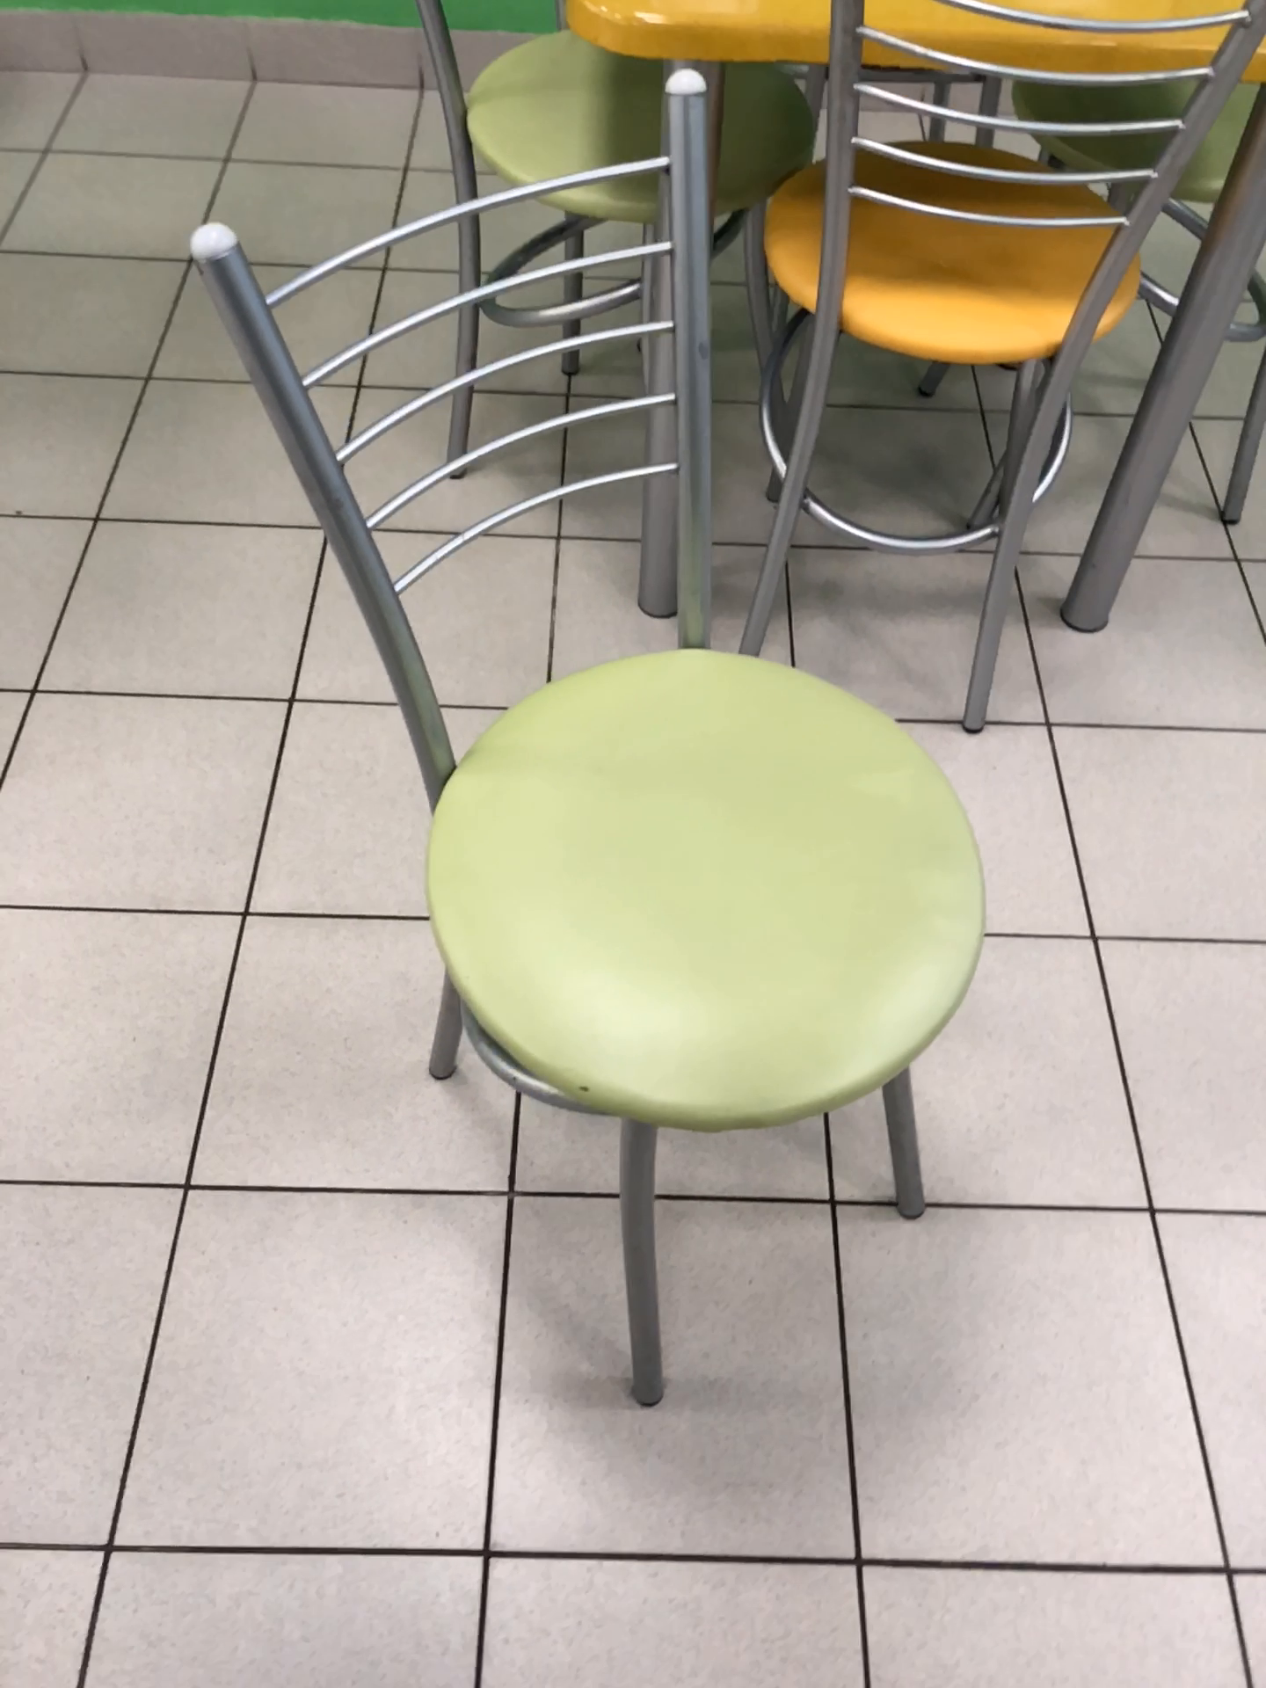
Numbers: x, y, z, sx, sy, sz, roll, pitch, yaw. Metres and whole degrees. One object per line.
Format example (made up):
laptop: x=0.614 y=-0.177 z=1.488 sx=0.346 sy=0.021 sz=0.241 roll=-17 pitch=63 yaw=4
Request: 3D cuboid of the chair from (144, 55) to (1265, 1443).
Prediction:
chair: x=0.027 y=0.009 z=0.995 sx=0.375 sy=0.826 sz=0.480 roll=-29 pitch=60 yaw=-21
